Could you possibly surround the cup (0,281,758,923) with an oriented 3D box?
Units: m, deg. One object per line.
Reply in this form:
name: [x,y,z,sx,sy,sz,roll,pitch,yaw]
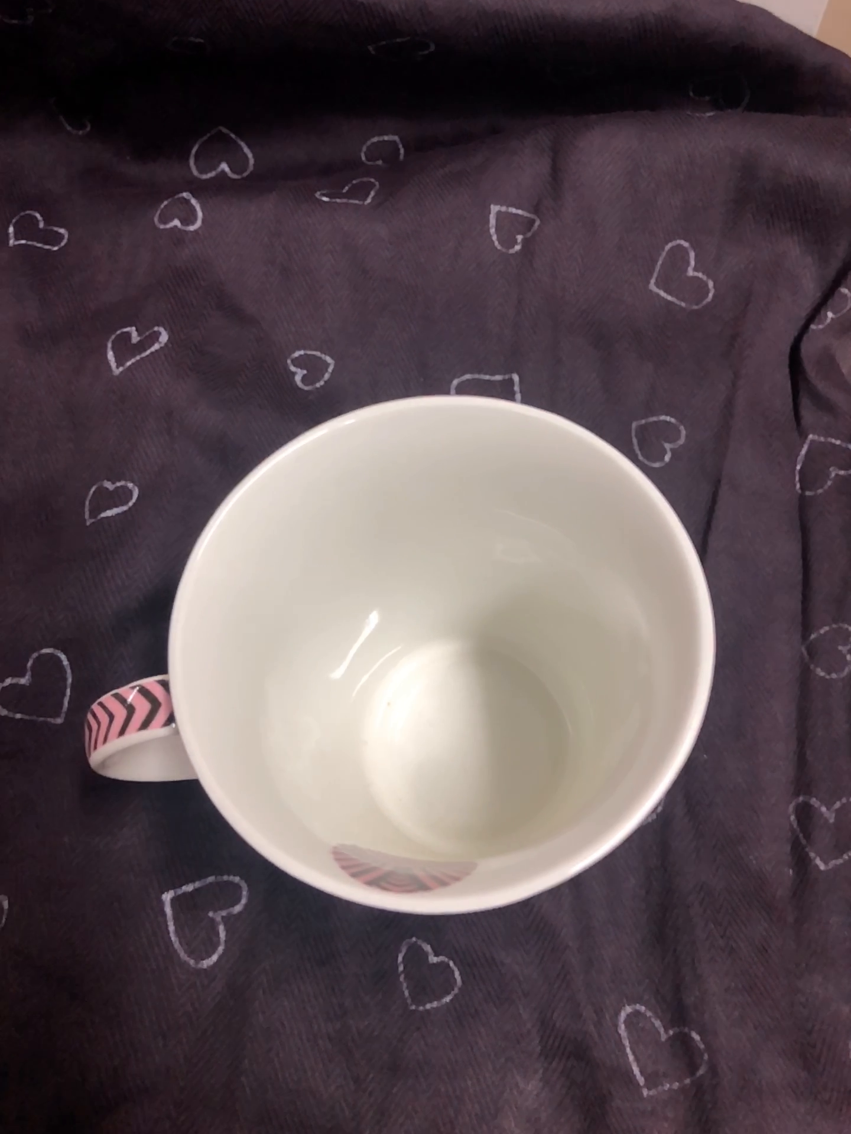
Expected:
cup: [-0.012,0.018,0.209,0.120,0.100,0.090,-12,67,1]
